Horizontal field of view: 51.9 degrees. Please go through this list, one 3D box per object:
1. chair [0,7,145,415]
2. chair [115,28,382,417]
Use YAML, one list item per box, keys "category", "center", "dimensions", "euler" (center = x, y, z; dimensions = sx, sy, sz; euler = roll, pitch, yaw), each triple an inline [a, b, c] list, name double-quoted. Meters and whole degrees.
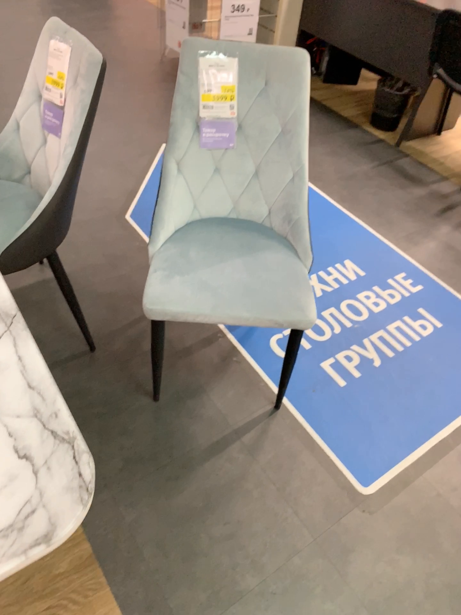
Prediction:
- category: "chair"
  center: [-0.697, -0.286, 1.400]
  dimensions: [0.667, 0.880, 0.570]
  euler: [-23, 52, -27]
- category: "chair"
  center: [-0.004, -0.187, 1.336]
  dimensions: [0.470, 0.885, 0.553]
  euler: [4, 45, -3]
